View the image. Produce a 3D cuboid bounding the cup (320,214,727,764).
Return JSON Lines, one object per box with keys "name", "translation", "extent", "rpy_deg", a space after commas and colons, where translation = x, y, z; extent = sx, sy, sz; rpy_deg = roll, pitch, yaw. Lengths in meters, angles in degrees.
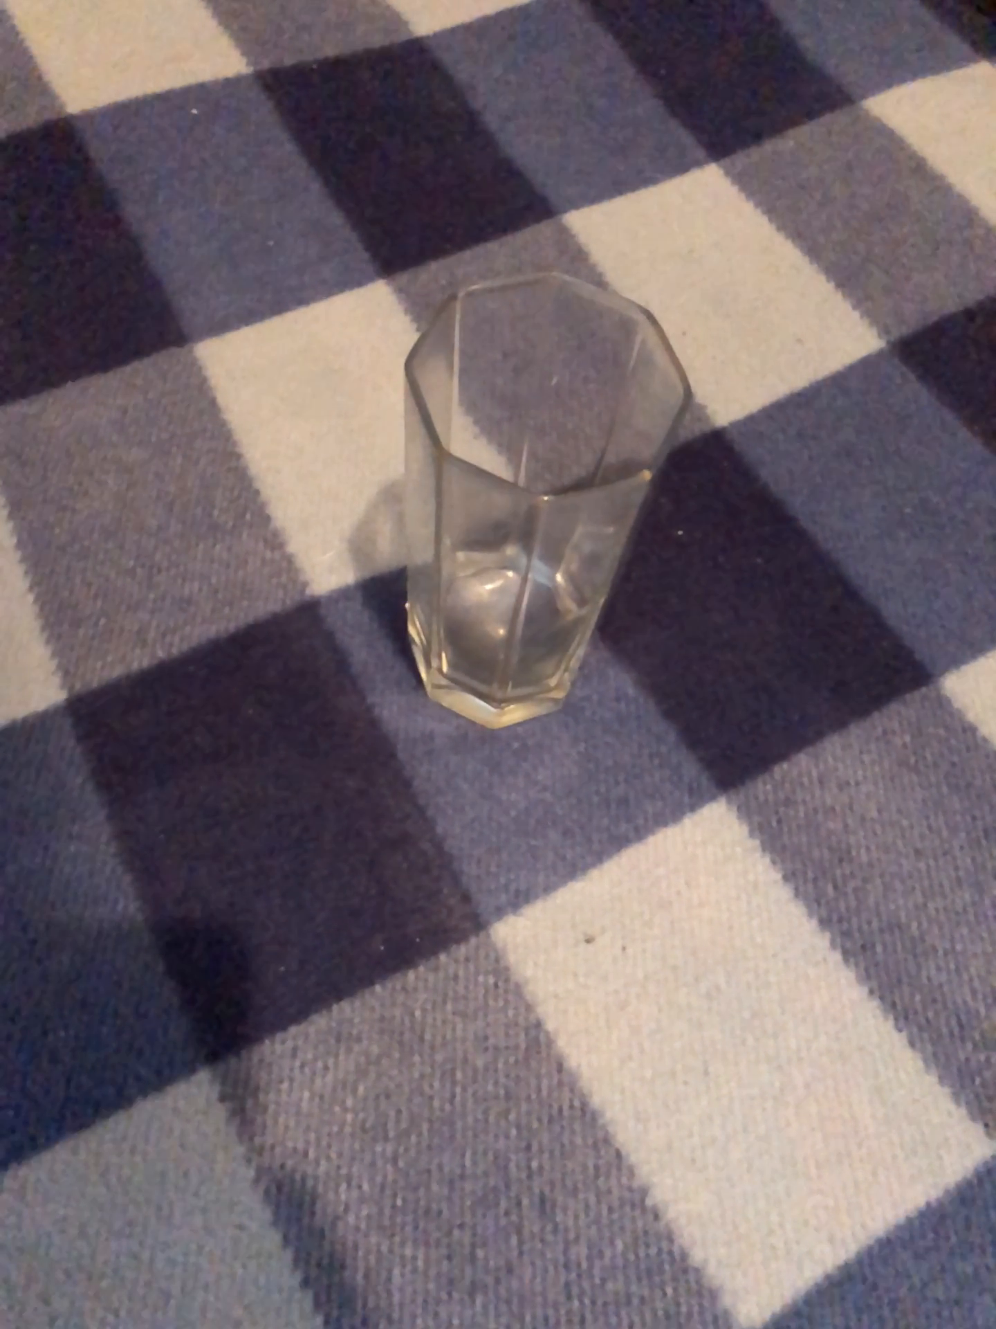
{"name": "cup", "translation": [0.004, -0.041, 0.323], "extent": [0.082, 0.137, 0.077], "rpy_deg": [2, 63, -4]}
